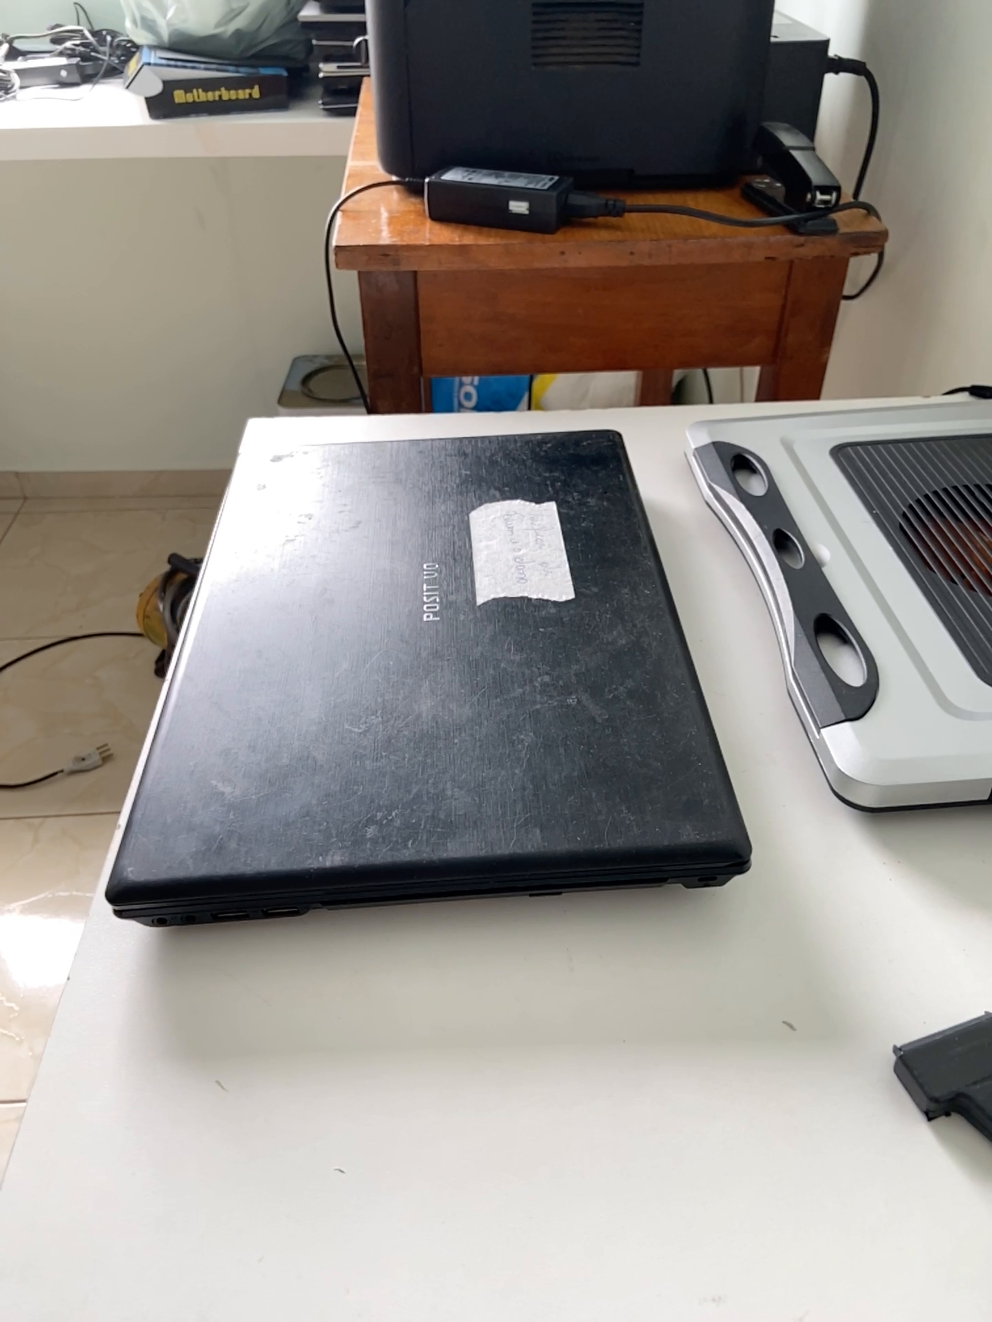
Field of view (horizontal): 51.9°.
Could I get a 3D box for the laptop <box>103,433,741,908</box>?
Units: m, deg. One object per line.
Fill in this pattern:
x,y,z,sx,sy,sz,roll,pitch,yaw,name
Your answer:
-0.035,-0.025,0.501,0.233,0.008,0.330,-4,40,-1,laptop
